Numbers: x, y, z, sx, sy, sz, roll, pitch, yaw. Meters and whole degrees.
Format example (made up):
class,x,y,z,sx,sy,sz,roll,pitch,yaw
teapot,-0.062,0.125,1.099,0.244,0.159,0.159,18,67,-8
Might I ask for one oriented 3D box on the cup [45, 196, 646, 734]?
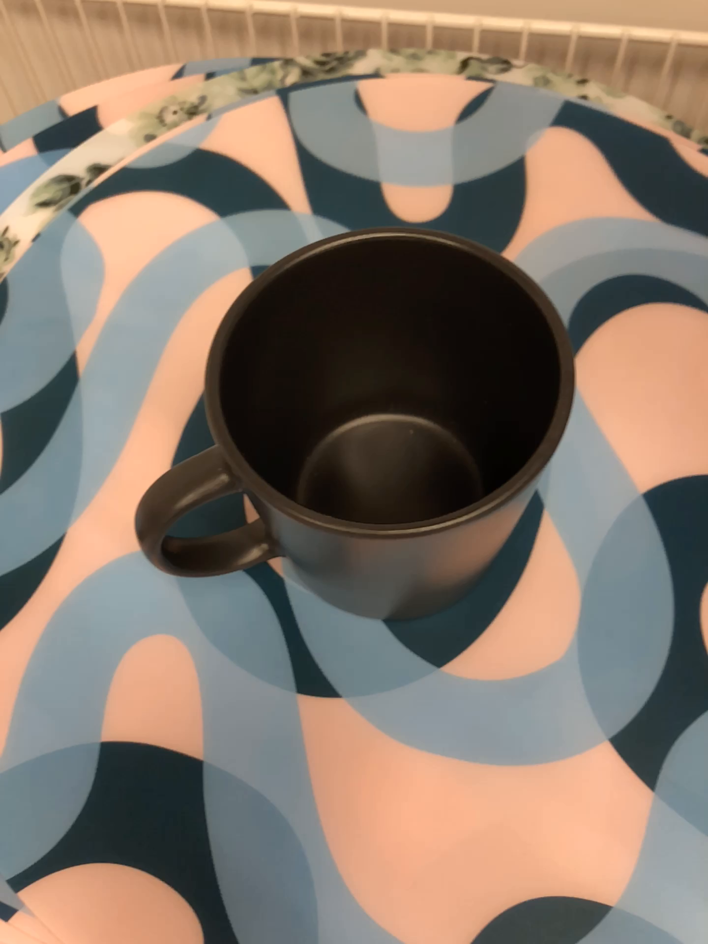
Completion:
class,x,y,z,sx,sy,sz,roll,pitch,yaw
cup,-0.005,0.002,0.227,0.120,0.090,0.090,-17,62,-6
